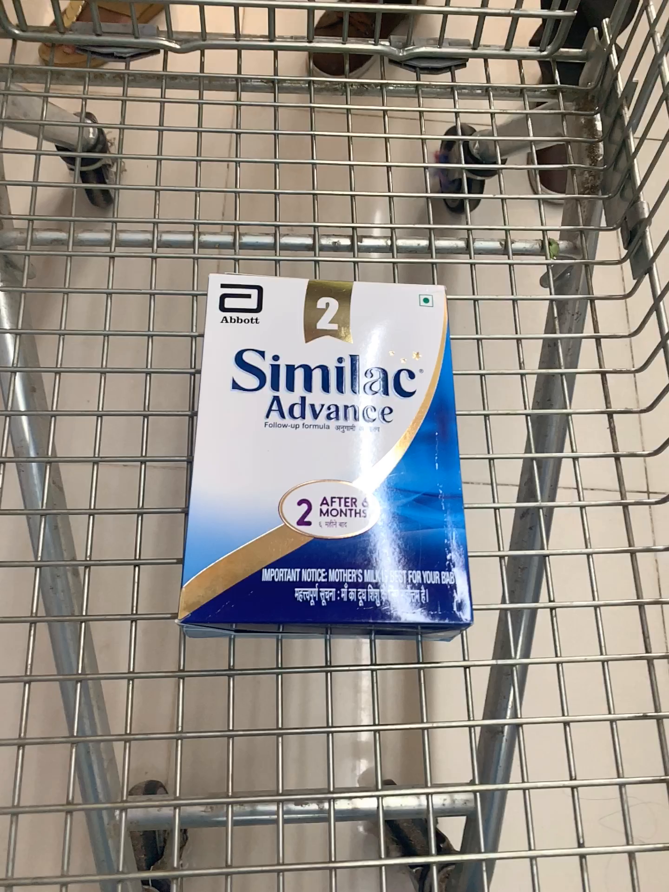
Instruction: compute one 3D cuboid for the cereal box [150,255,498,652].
[{"bbox_3d":[-0.006,0.001,0.363,0.150,0.060,0.200,1,66,-4],"label":"cereal box"}]
